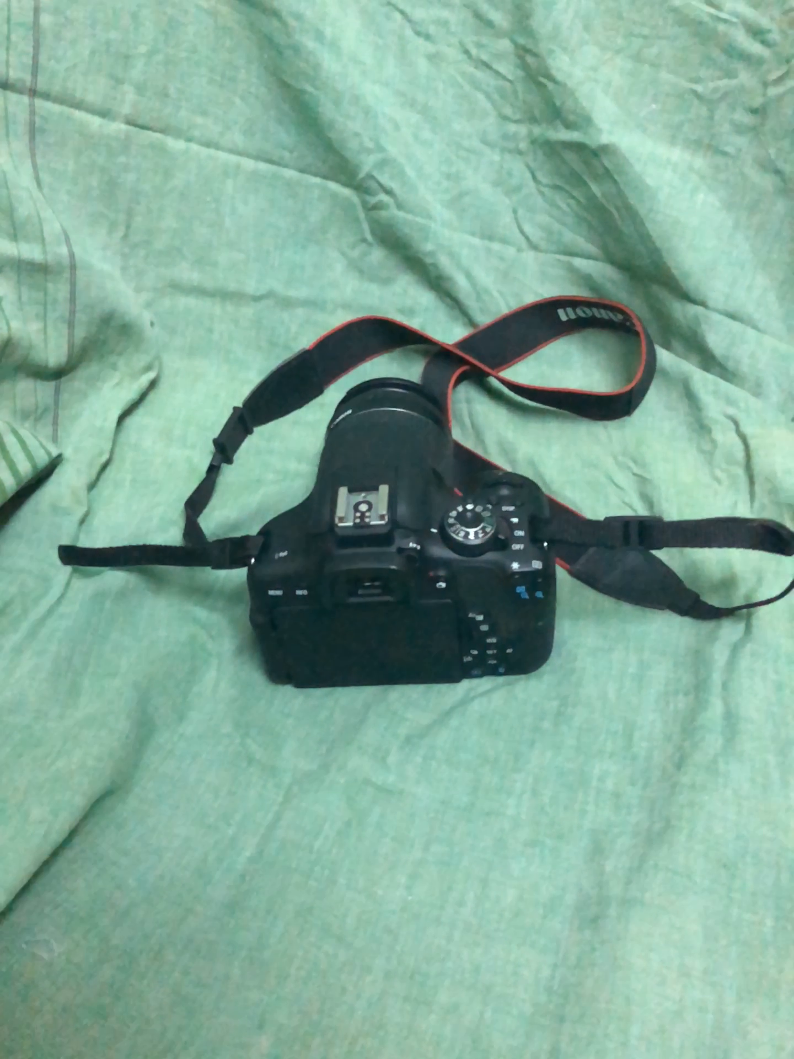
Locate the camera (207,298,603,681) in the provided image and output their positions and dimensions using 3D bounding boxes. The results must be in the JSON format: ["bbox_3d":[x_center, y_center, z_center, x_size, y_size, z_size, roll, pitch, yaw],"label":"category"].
[{"bbox_3d":[0.004,-0.020,0.400,0.142,0.099,0.145,0,48,1],"label":"camera"}]
